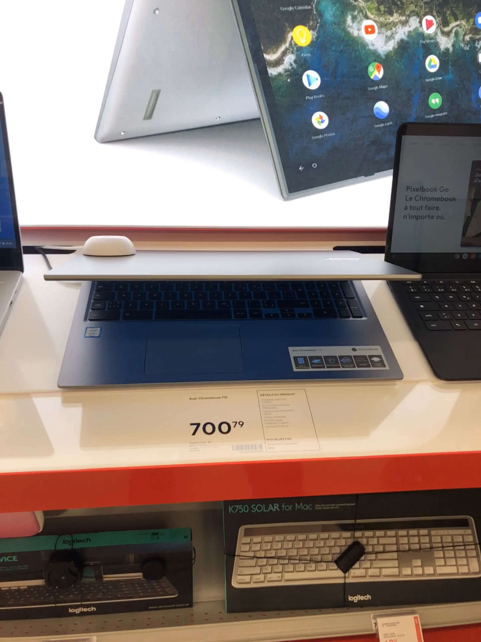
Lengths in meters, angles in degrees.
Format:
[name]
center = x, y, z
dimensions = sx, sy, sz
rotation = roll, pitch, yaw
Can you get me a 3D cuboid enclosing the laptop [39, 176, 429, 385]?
[laptop]
center = -0.010, -0.061, 0.618
dimensions = 0.368, 0.109, 0.245
rotation = -1, 40, -8
